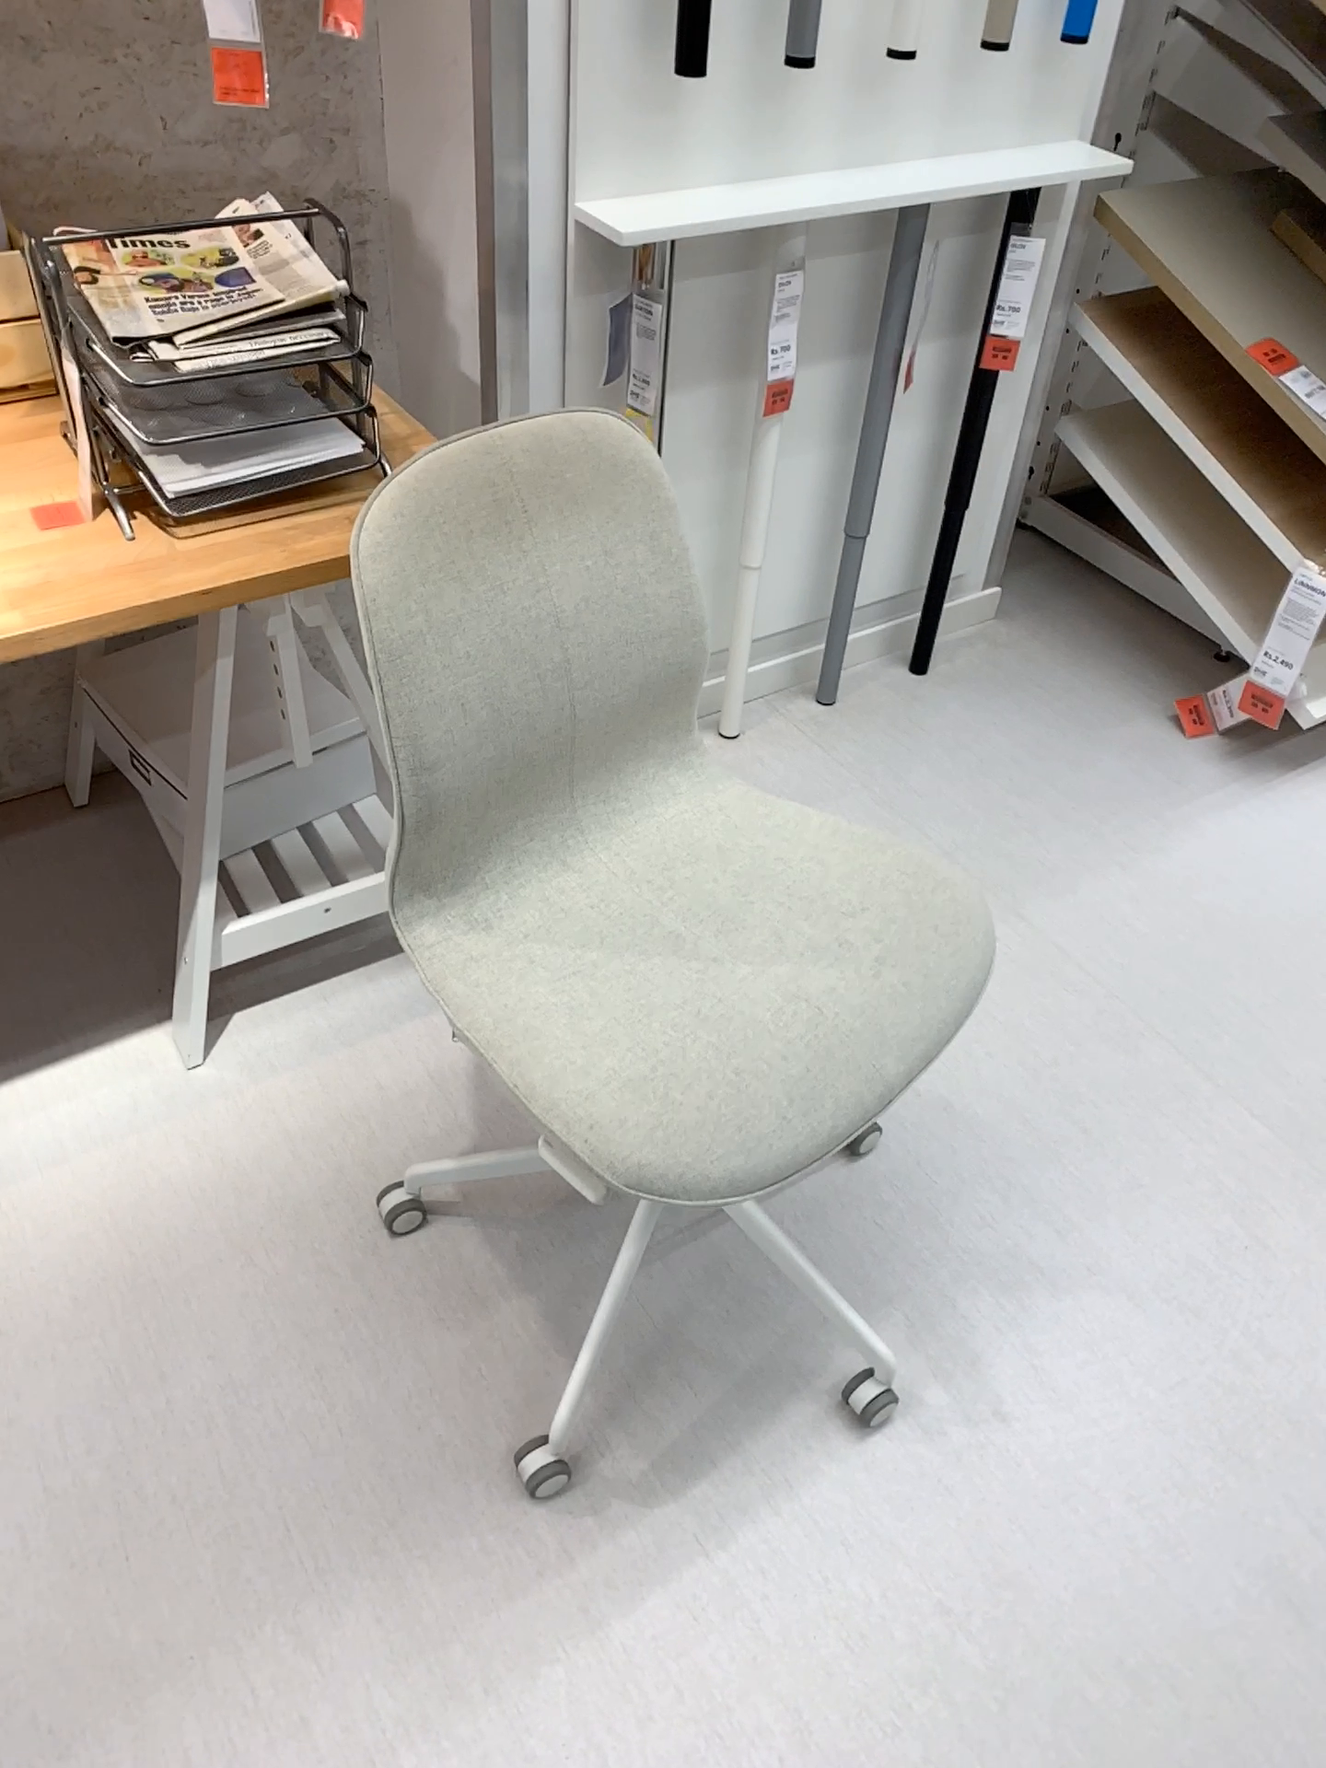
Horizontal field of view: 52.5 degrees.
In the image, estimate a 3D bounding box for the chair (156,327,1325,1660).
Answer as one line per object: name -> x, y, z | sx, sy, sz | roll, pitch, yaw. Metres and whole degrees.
chair -> 0.055, 0.074, 1.285 | 0.661, 0.866, 0.662 | -27, 50, -30
